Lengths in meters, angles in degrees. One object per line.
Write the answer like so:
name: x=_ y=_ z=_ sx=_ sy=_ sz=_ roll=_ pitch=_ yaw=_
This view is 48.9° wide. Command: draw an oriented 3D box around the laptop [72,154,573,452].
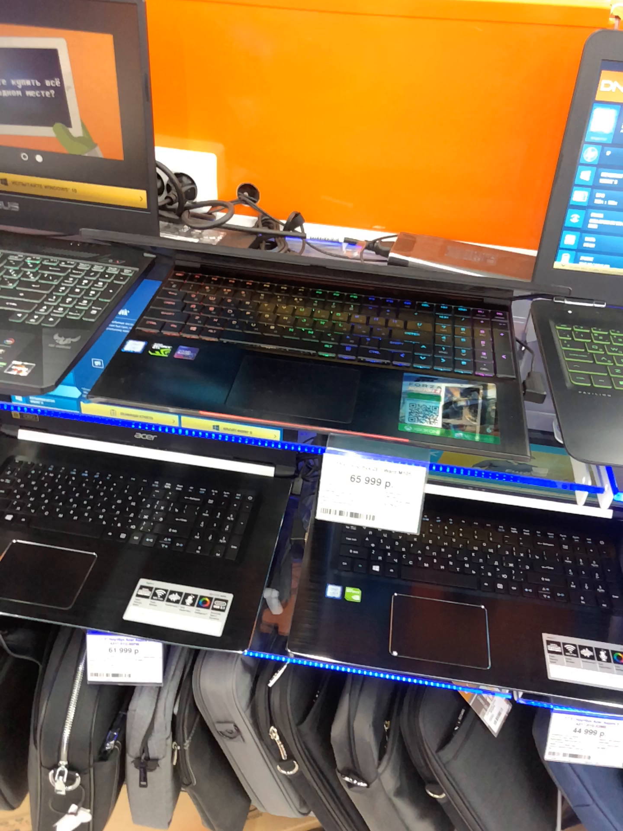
laptop: x=0.016 y=-0.115 z=0.610 sx=0.359 sy=0.118 sz=0.234 roll=7 pitch=40 yaw=5

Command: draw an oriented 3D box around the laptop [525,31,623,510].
laptop: x=0.401 y=-0.142 z=0.575 sx=0.334 sy=0.252 sz=0.308 roll=7 pitch=38 yaw=4
